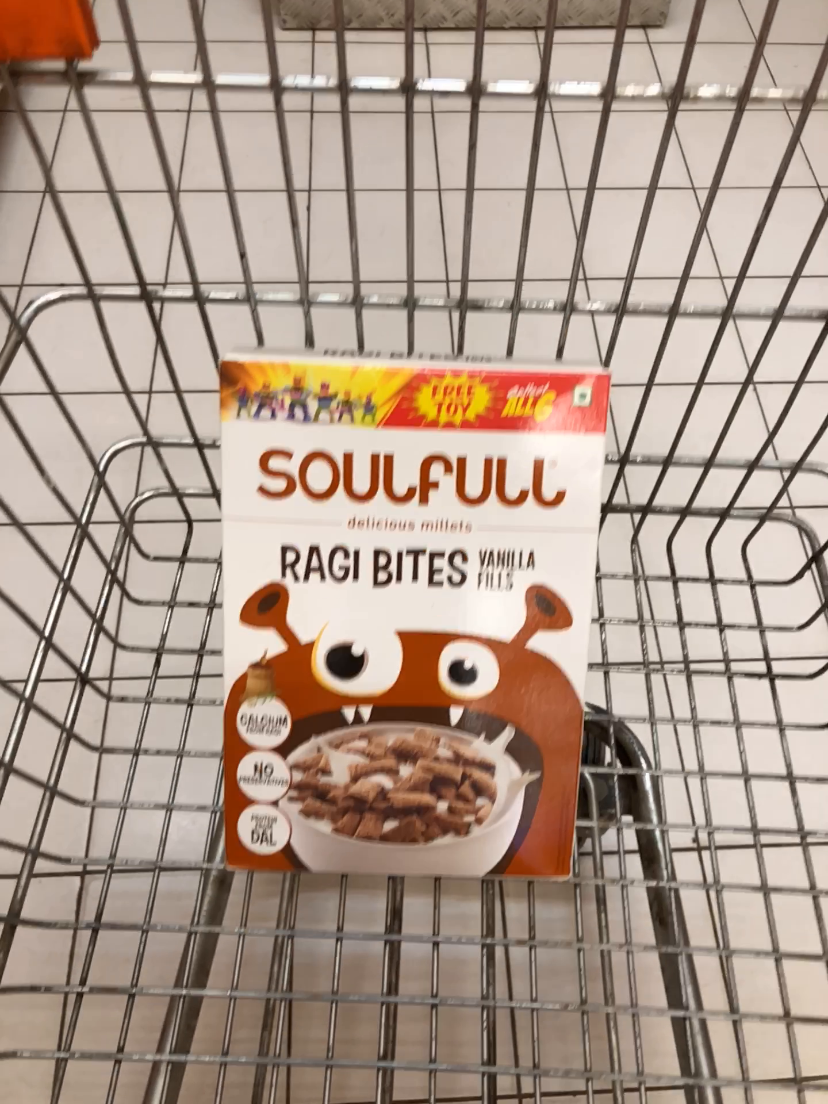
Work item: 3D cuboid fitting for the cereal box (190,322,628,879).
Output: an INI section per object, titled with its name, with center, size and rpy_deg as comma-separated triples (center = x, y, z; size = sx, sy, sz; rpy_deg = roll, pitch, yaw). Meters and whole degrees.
[cereal box]
center = -0.009, 0.023, 0.441
size = 0.180, 0.249, 0.070
rpy_deg = 3, 14, -2
